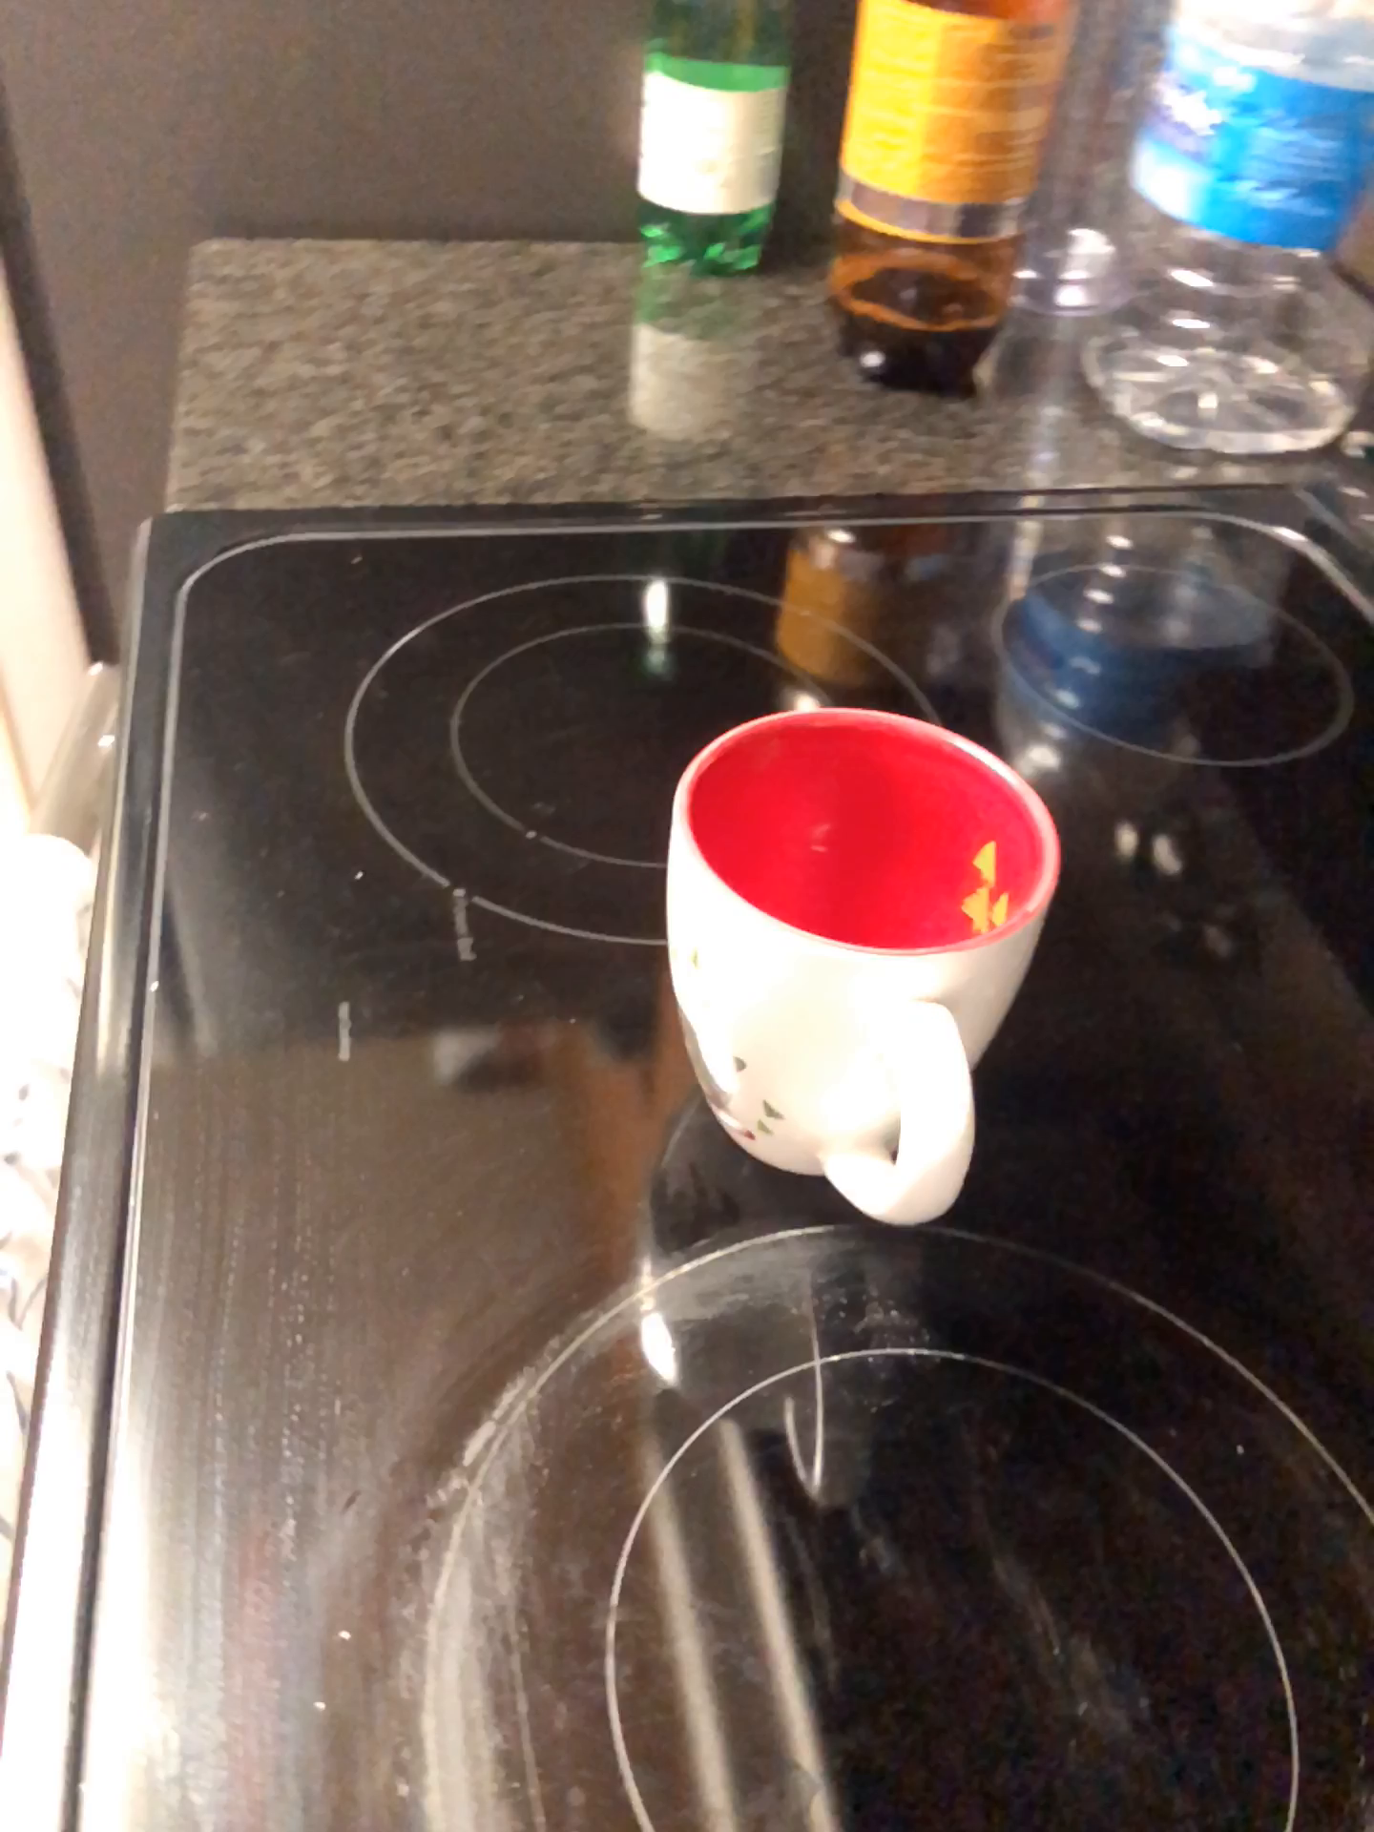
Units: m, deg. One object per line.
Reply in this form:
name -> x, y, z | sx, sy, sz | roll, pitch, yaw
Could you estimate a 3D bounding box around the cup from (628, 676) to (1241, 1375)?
cup -> 0.049, 0.022, 0.395 | 0.100, 0.100, 0.141 | -5, 44, -12
